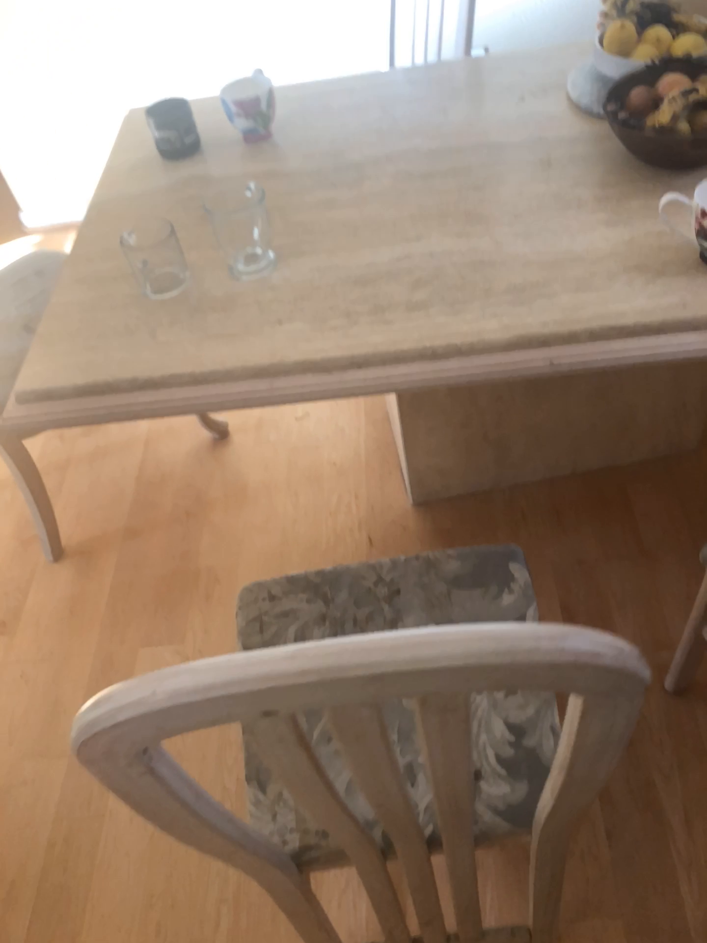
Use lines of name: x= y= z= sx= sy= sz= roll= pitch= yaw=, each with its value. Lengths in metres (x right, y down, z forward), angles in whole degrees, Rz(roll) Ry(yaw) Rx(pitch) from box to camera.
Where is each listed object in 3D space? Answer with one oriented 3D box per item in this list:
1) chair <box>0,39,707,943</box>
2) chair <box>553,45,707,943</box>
chair: x=0.032 y=0.212 z=0.983 sx=0.480 sy=1.142 sz=0.564 roll=-8 pitch=49 yaw=4
chair: x=0.599 y=0.208 z=1.000 sx=0.480 sy=1.142 sz=0.564 roll=-12 pitch=47 yaw=1
